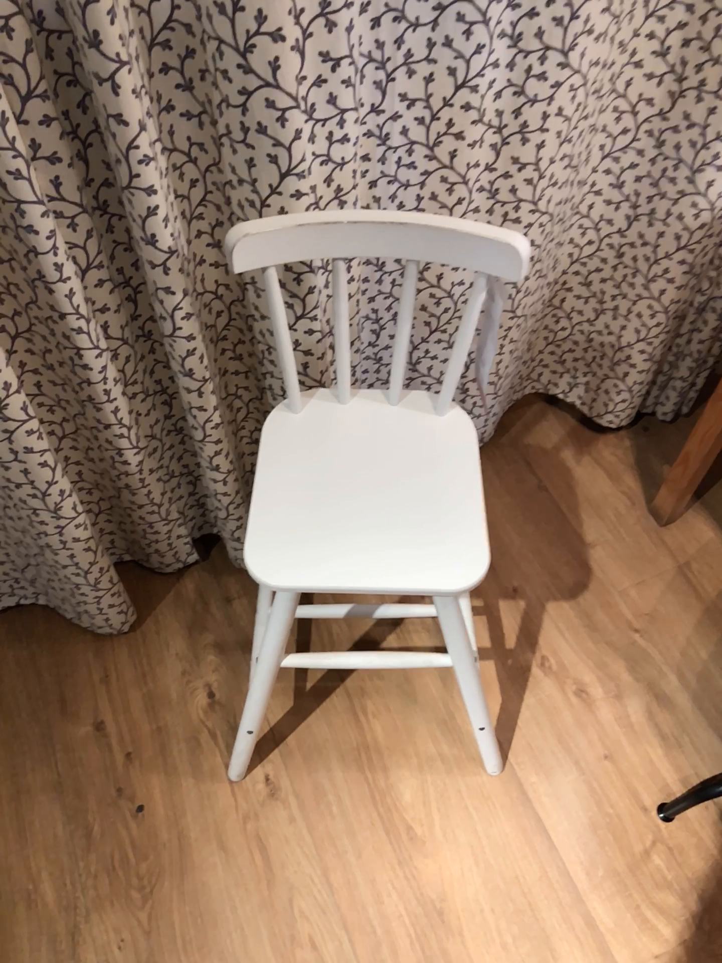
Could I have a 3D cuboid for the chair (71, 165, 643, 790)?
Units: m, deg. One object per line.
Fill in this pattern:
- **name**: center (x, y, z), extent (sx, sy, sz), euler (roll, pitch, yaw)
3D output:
- **chair**: center (-0.011, 0.056, 1.001), extent (0.420, 0.706, 0.453), euler (-2, 55, -1)
